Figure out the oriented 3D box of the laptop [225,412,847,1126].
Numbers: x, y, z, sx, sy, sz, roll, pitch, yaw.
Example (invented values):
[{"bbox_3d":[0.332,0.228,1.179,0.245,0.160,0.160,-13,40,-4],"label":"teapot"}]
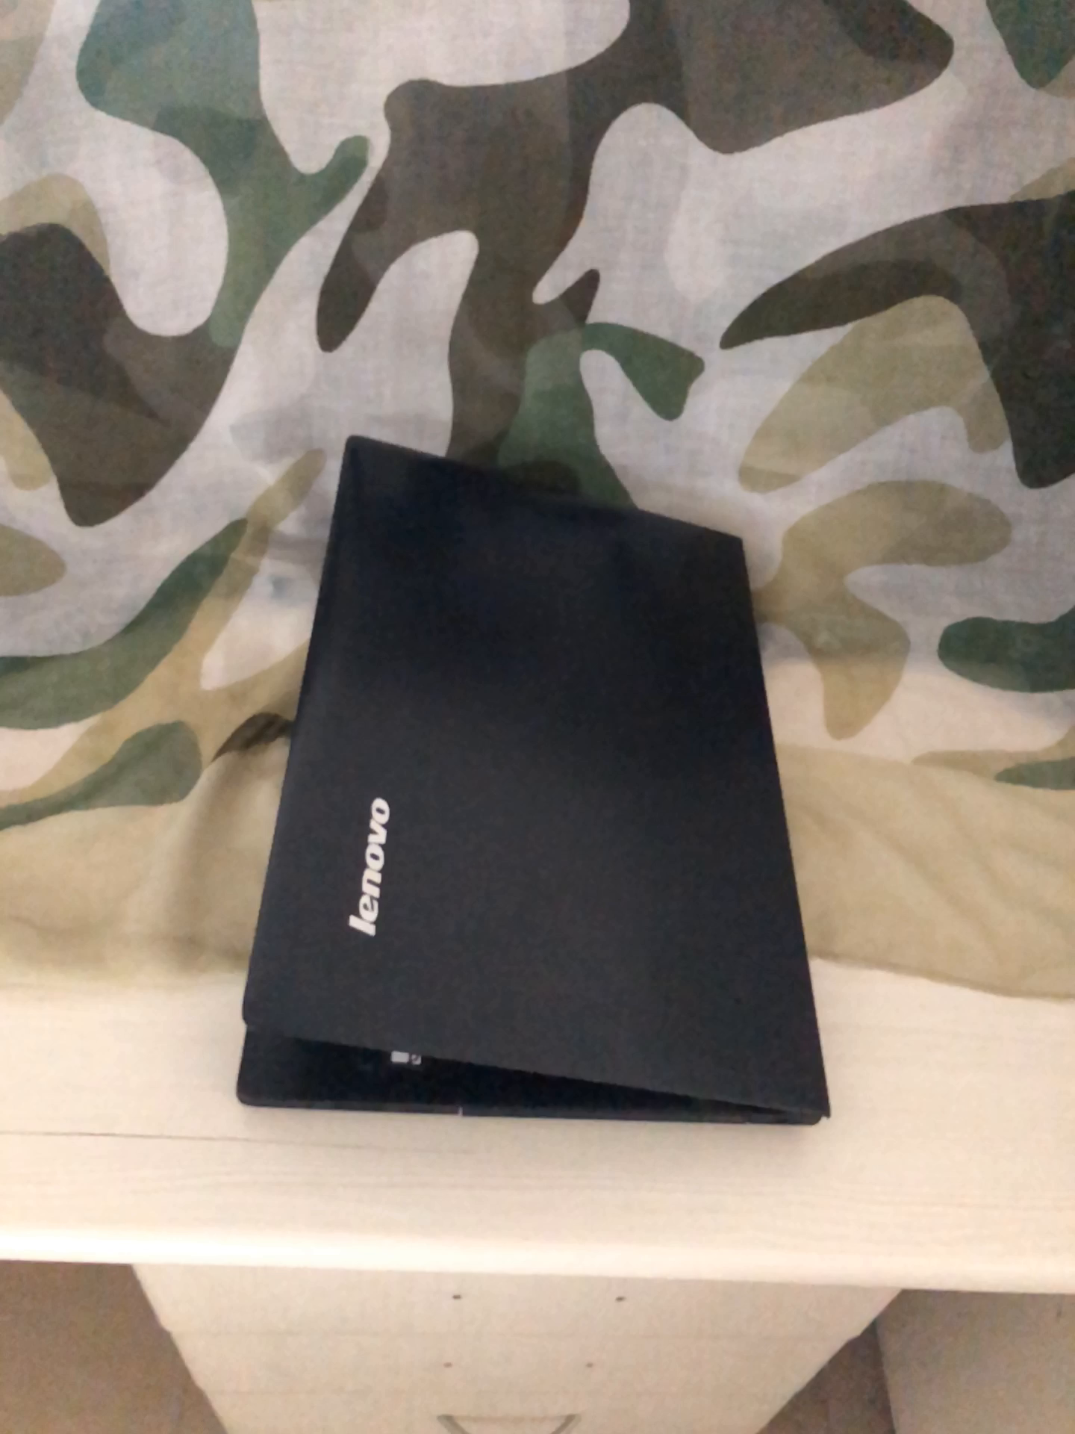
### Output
[{"bbox_3d":[0.006,0.000,0.618,0.249,0.059,0.387,6,49,-5],"label":"laptop"}]
